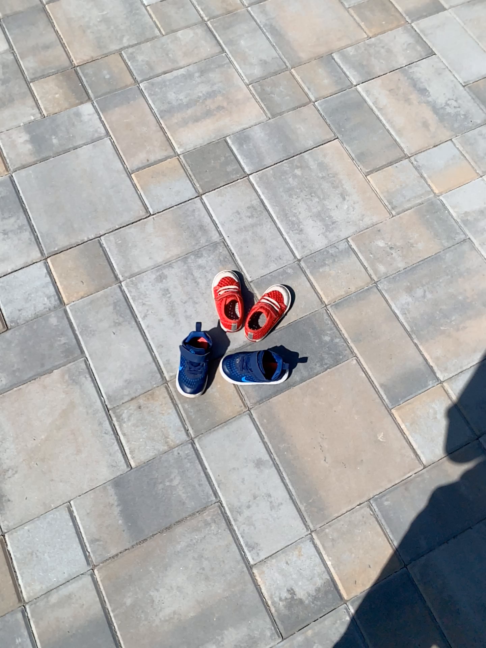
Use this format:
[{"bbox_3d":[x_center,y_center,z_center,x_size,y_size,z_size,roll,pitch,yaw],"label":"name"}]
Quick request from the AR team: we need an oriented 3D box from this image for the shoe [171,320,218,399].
[{"bbox_3d":[-0.109,0.082,1.141,0.080,0.070,0.160,6,69,1],"label":"shoe"}]

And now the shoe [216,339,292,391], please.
[{"bbox_3d":[0.025,0.094,1.124,0.160,0.080,0.080,7,69,1],"label":"shoe"}]

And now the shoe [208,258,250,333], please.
[{"bbox_3d":[-0.035,-0.069,1.196,0.080,0.070,0.160,-7,69,-4],"label":"shoe"}]

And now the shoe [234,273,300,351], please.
[{"bbox_3d":[0.057,-0.028,1.198,0.080,0.070,0.160,35,72,11],"label":"shoe"}]
